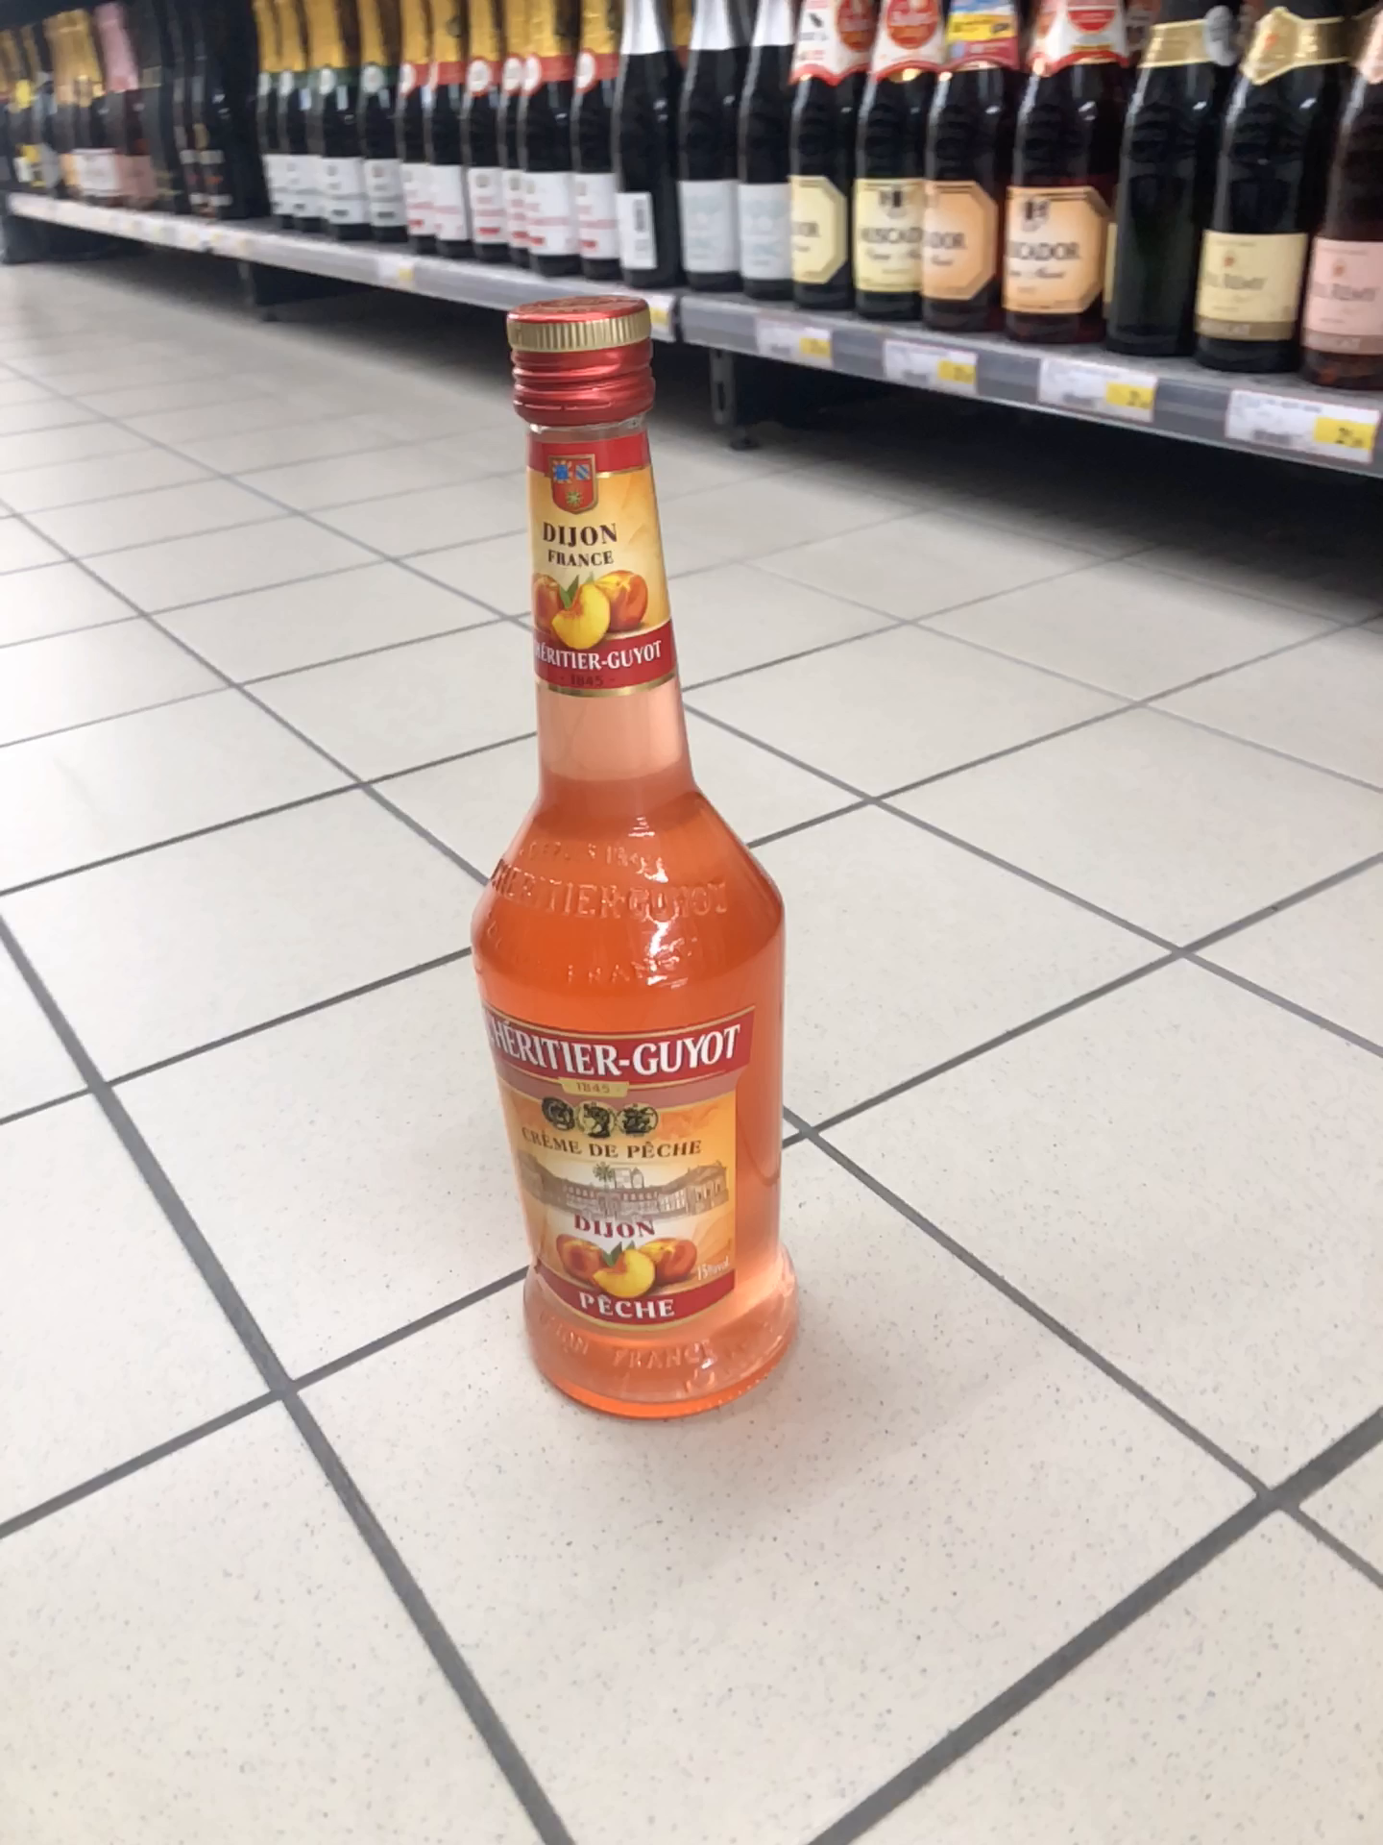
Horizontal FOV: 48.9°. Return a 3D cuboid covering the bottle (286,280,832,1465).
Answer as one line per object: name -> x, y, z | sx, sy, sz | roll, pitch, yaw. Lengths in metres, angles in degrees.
bottle -> -0.019, -0.005, 0.408 | 0.090, 0.298, 0.091 | -3, 28, 1
